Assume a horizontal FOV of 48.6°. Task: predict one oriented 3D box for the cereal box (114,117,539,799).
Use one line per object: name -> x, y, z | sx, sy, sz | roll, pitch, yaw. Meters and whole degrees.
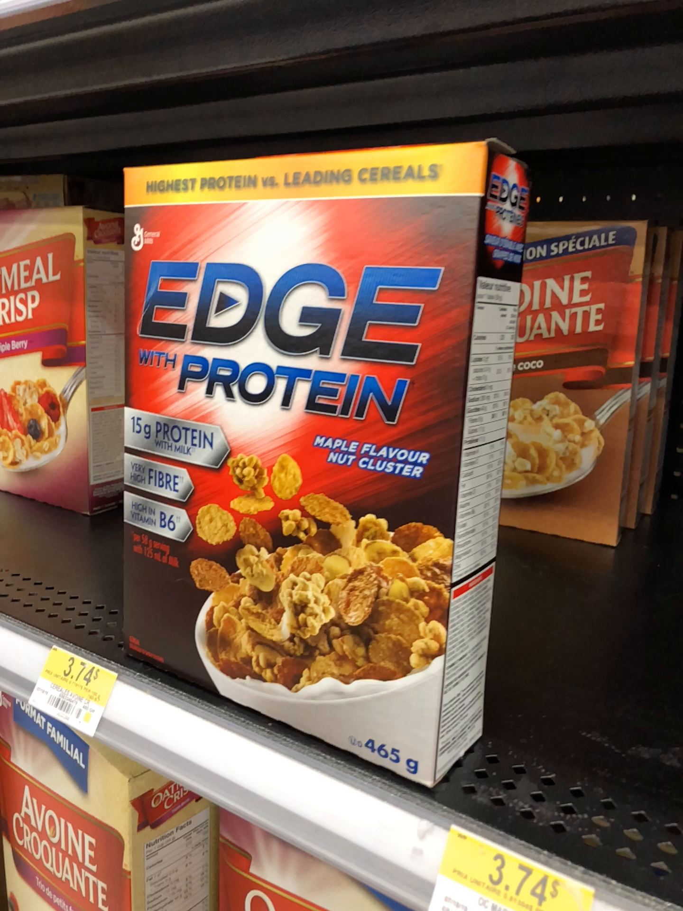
cereal box -> -0.023, -0.008, 0.373 | 0.200, 0.269, 0.060 | 11, 13, 34
